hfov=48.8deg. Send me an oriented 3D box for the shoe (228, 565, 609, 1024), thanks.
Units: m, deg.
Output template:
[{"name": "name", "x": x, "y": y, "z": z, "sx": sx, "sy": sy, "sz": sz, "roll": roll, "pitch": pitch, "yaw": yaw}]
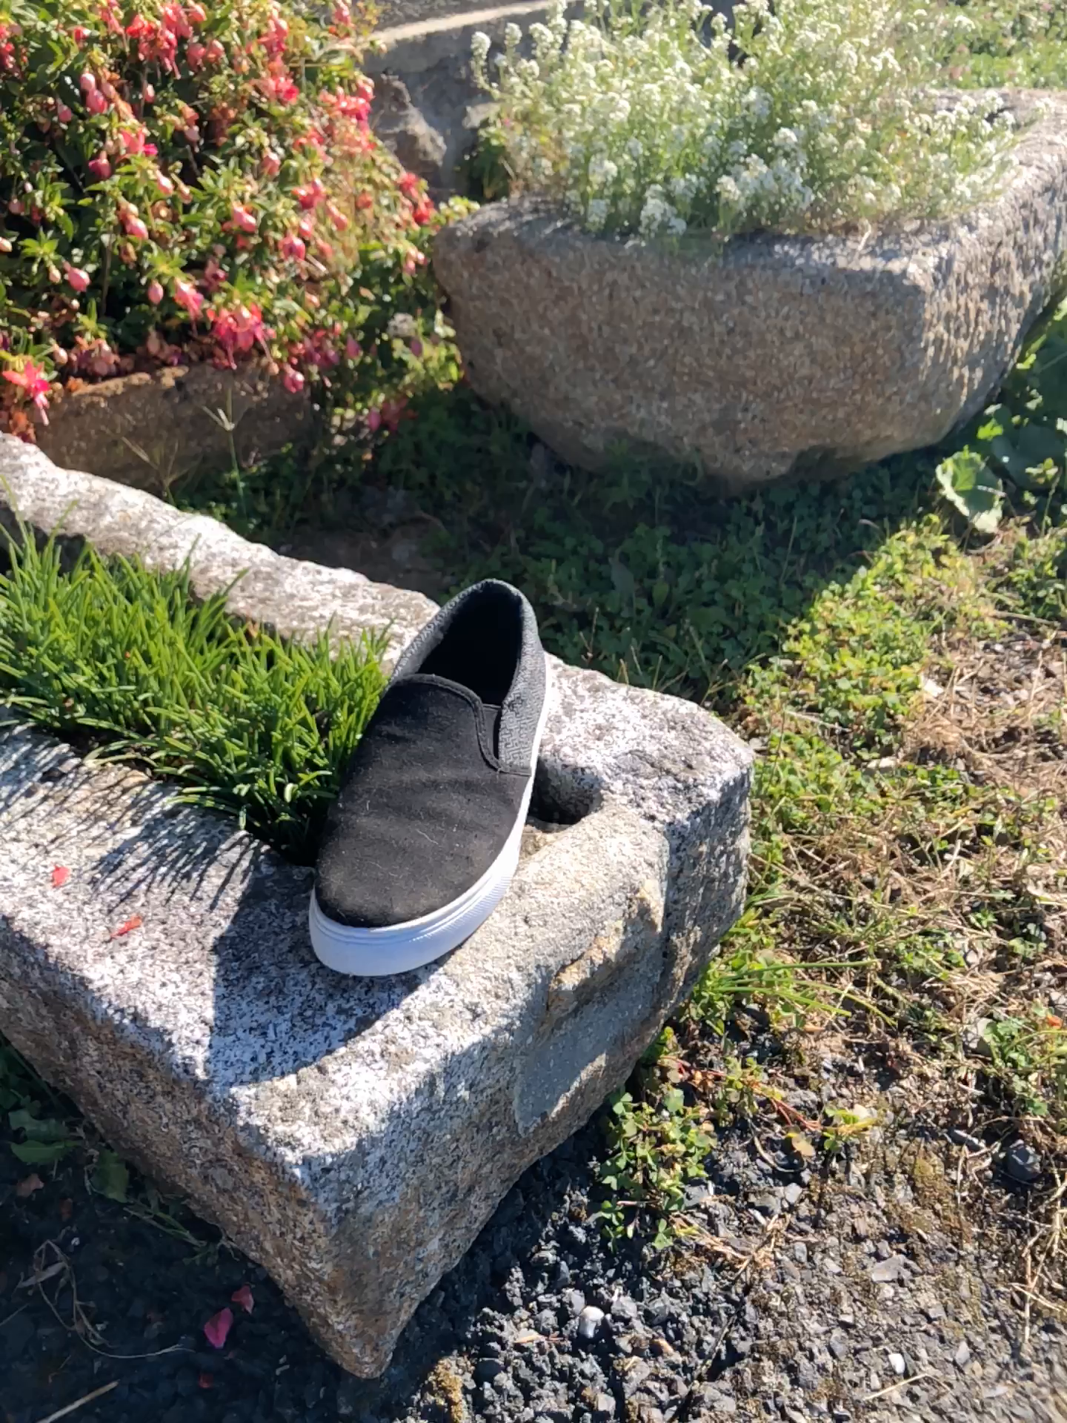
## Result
[{"name": "shoe", "x": -0.043, "y": 0.026, "z": 0.616, "sx": 0.100, "sy": 0.080, "sz": 0.262, "roll": 7, "pitch": 37, "yaw": 16}]
